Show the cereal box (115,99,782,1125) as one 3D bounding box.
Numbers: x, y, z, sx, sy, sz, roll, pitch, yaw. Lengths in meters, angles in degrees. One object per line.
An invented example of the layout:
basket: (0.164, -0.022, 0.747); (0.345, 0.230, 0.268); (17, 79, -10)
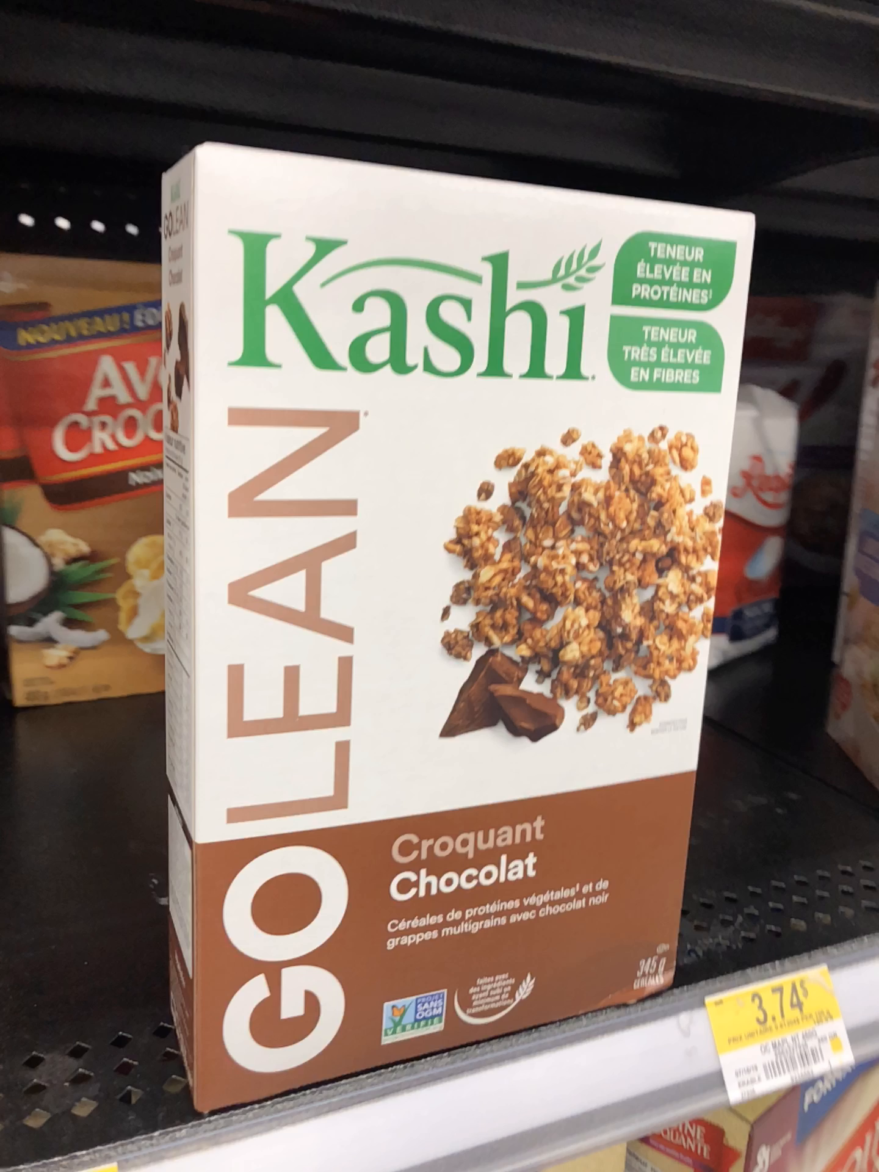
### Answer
cereal box: (0.000, 0.010, 0.285); (0.170, 0.249, 0.050); (-3, 15, -24)
